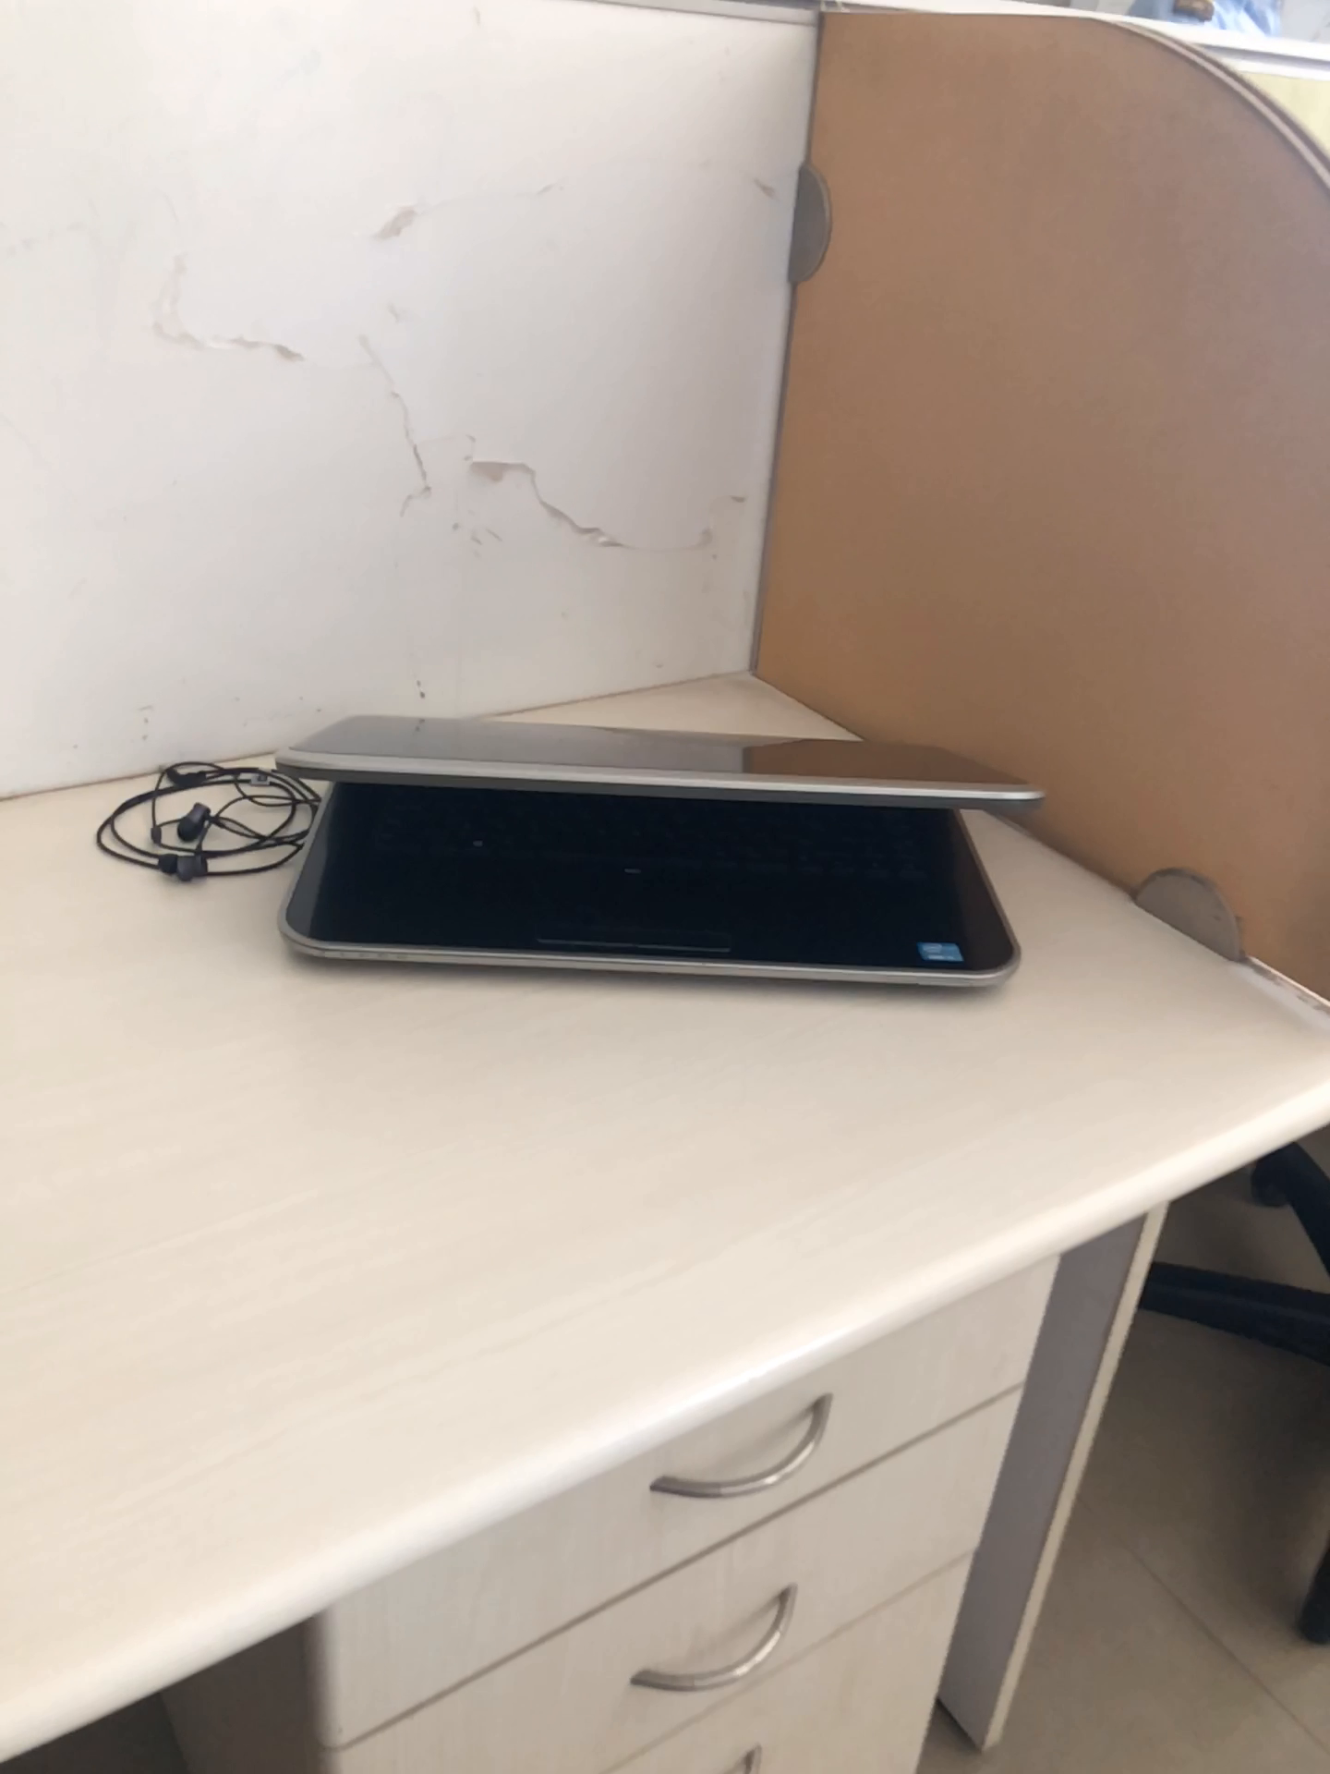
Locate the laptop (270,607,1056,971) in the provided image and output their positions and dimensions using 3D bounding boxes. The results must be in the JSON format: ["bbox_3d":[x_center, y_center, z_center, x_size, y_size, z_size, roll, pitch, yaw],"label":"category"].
[{"bbox_3d":[-0.004,-0.062,0.787,0.357,0.094,0.239,3,27,-3],"label":"laptop"}]
